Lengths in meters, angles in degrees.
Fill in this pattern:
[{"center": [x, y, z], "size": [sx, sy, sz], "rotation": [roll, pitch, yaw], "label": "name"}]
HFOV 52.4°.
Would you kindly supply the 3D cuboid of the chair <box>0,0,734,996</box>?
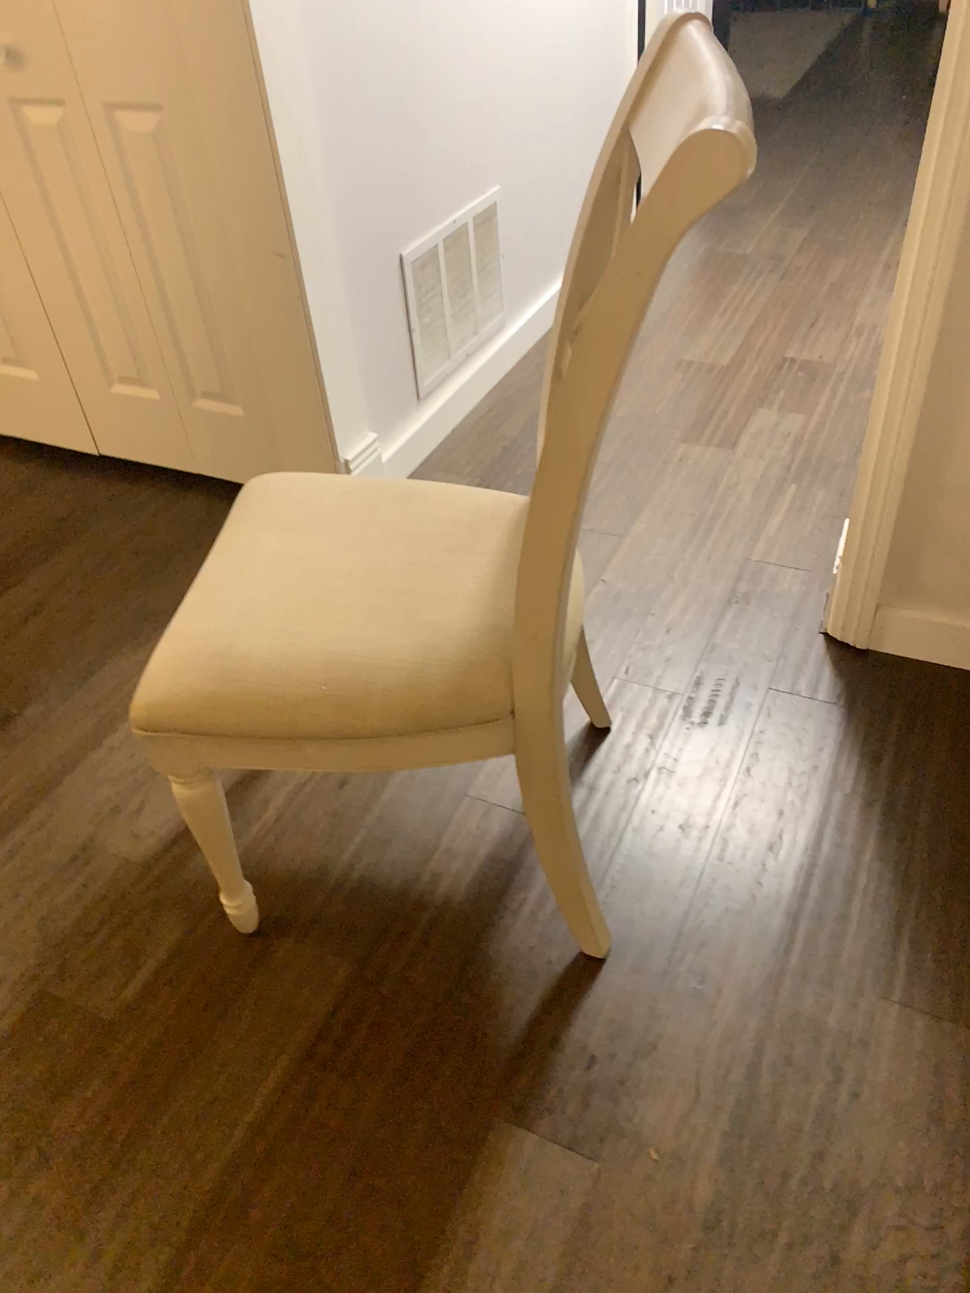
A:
[{"center": [-0.092, -0.138, 1.155], "size": [0.610, 0.994, 0.583], "rotation": [0, 41, 7], "label": "chair"}]
